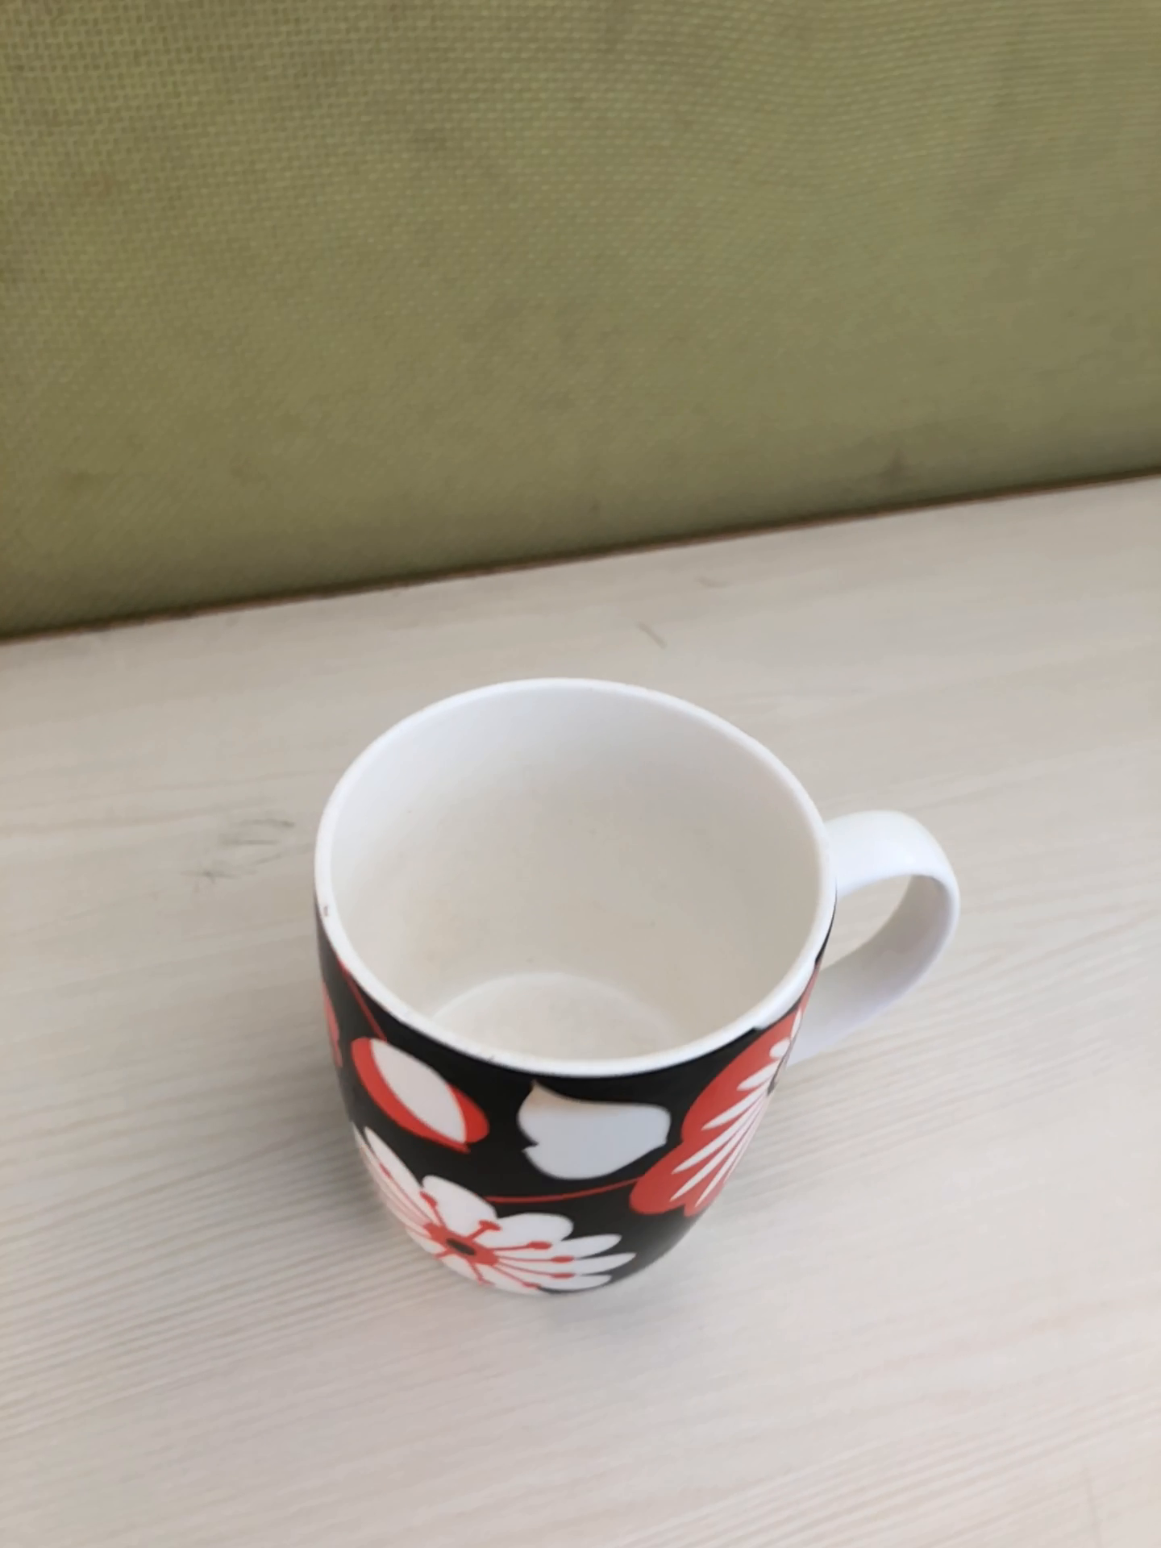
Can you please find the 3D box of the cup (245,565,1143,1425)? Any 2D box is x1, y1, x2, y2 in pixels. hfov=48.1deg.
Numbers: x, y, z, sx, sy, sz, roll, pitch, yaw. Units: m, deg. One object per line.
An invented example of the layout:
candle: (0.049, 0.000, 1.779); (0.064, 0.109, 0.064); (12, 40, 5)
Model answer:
cup: (0.014, 0.035, 0.246); (0.120, 0.089, 0.090); (-17, 48, -23)
